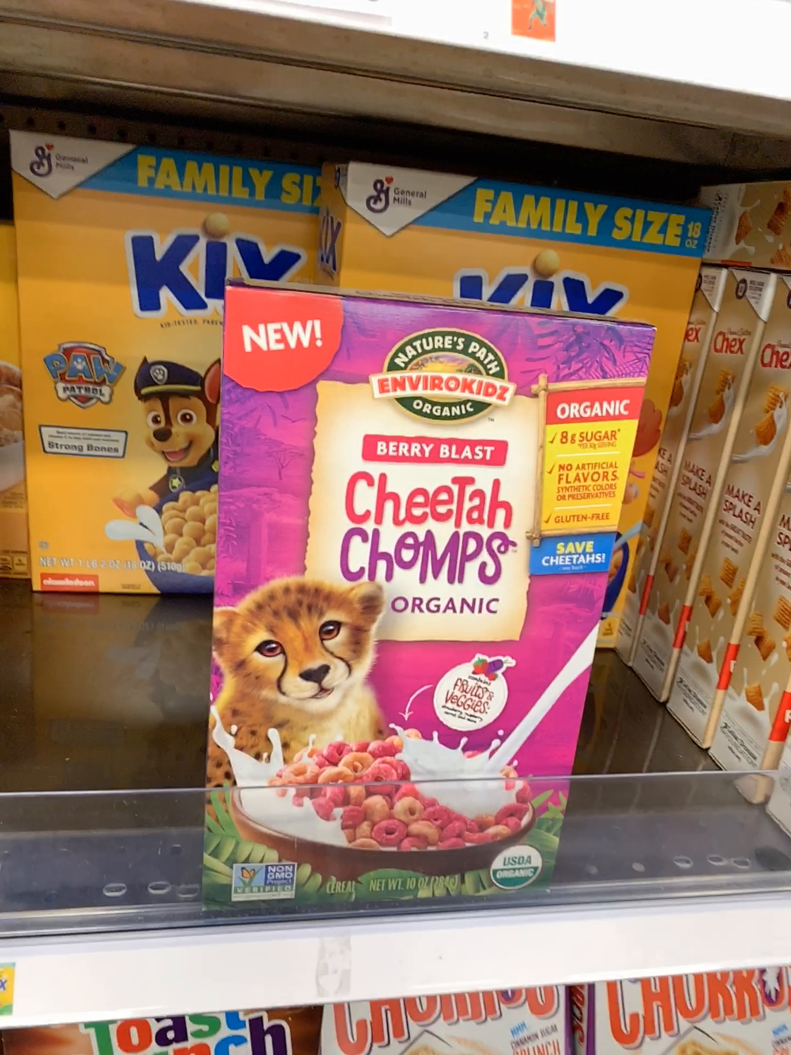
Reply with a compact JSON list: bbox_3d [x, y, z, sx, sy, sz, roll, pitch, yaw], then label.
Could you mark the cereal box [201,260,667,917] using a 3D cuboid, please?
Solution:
[{"bbox_3d":[0.003,0.034,0.354,0.160,0.269,0.060,3,18,-11],"label":"cereal box"}]
